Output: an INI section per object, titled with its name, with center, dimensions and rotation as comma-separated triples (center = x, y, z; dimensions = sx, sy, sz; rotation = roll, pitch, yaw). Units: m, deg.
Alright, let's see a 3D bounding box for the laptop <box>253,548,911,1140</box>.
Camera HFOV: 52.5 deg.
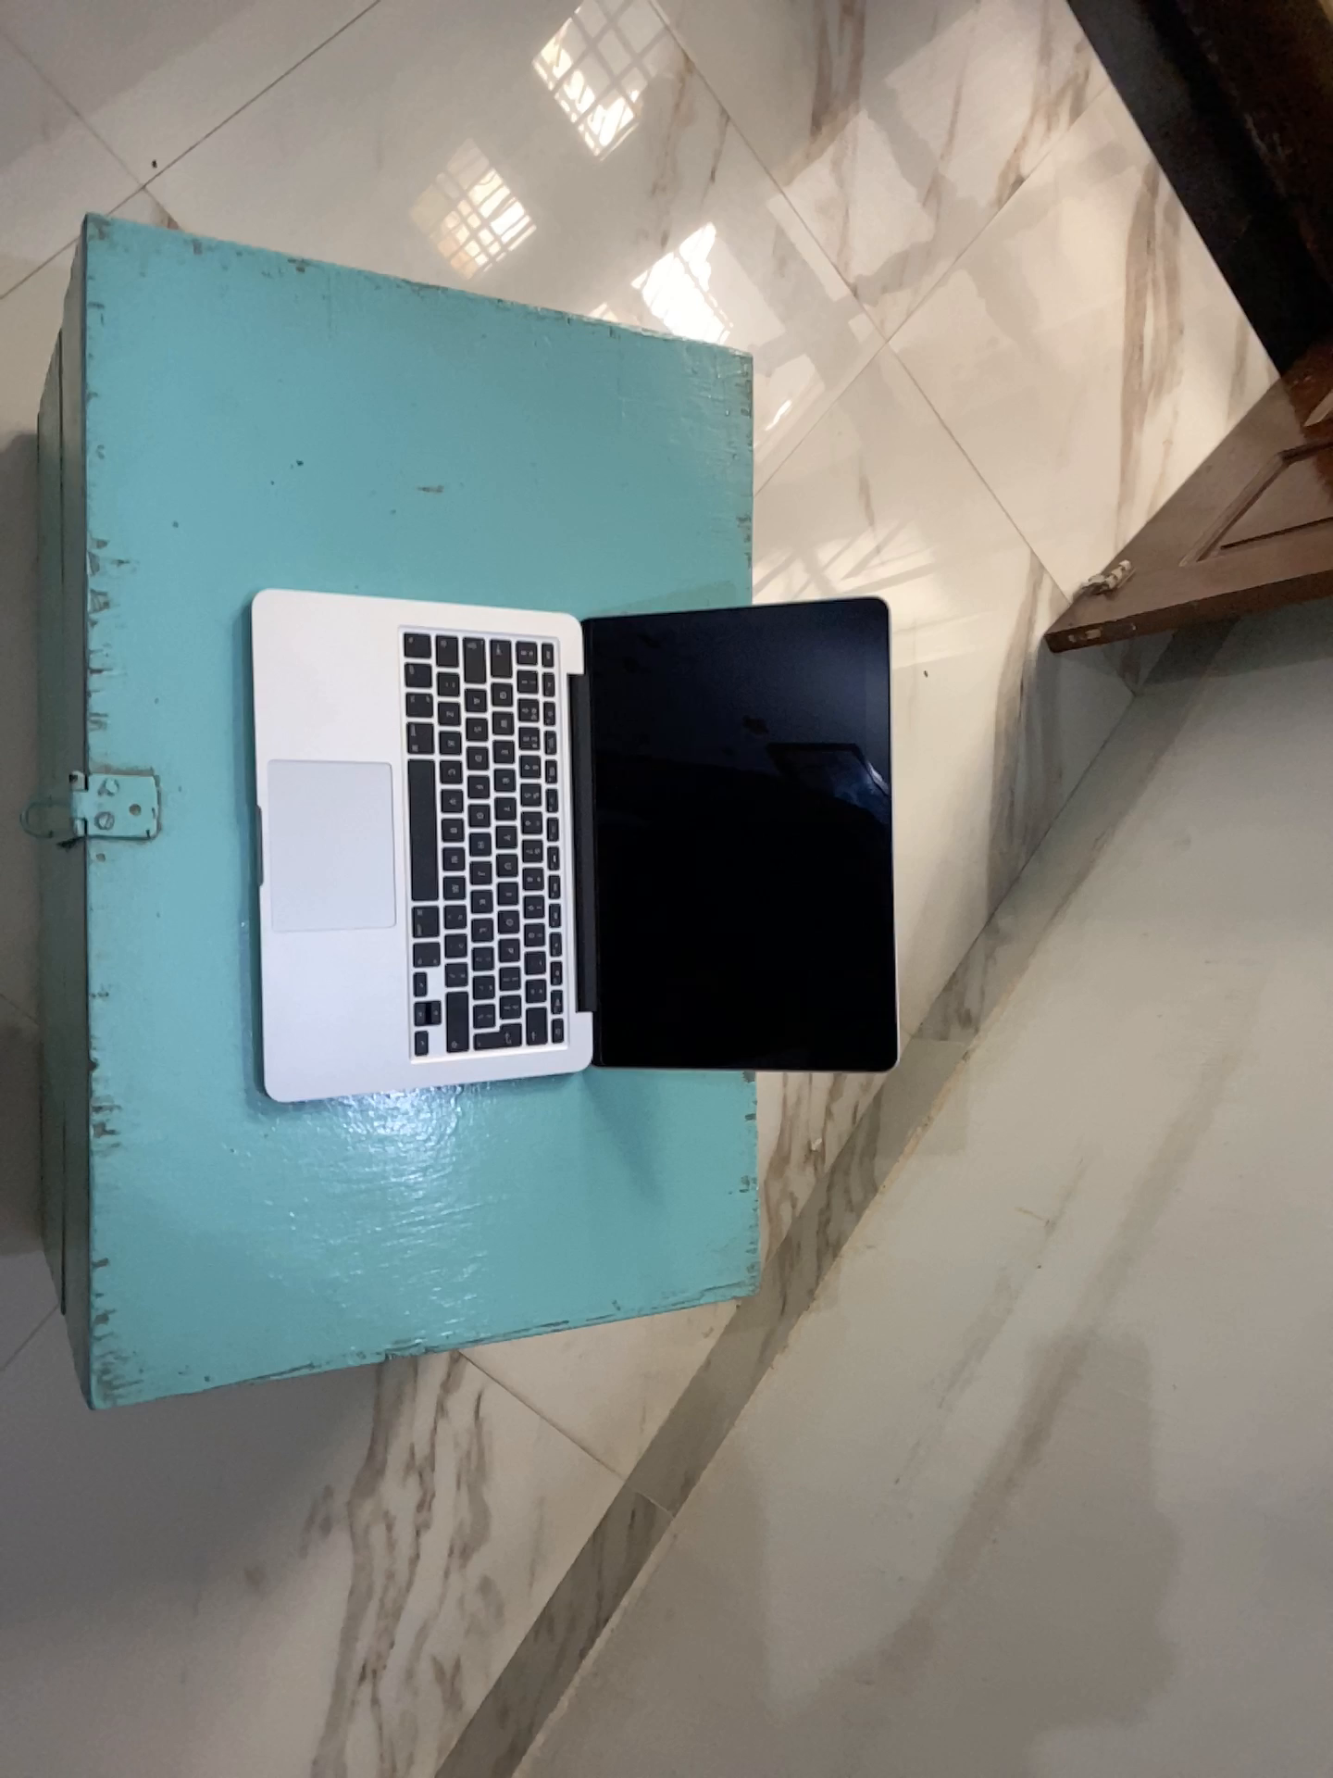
[laptop]
center = -0.047, -0.030, 0.868
dimensions = 0.378, 0.148, 0.313
rotation = -2, 90, -29
